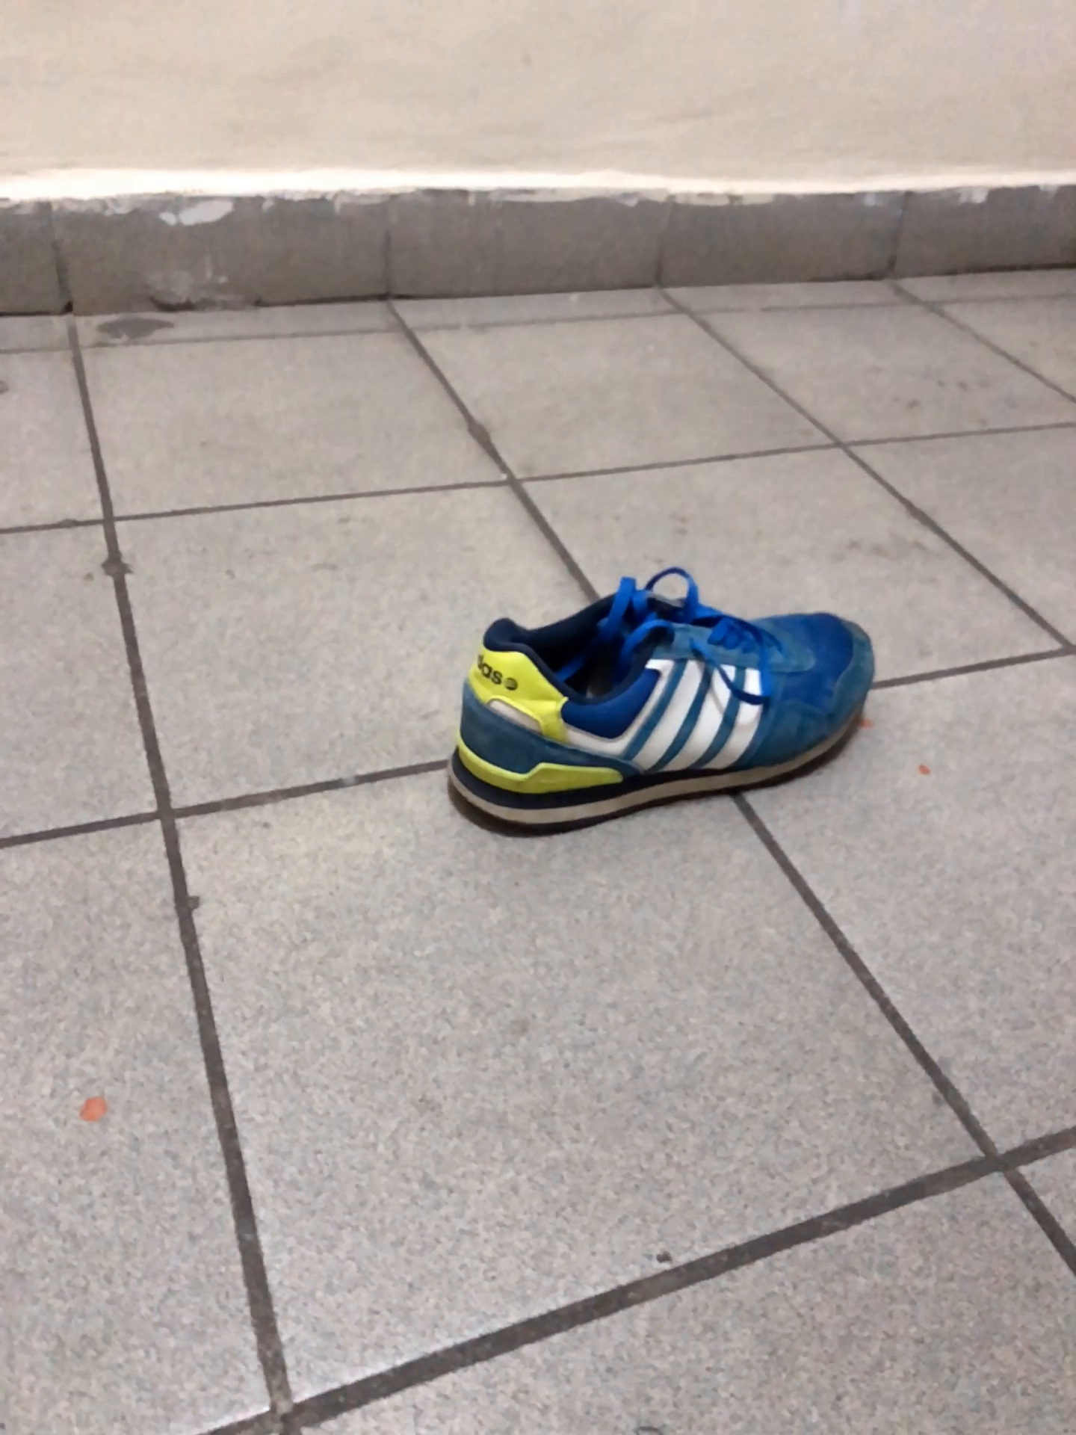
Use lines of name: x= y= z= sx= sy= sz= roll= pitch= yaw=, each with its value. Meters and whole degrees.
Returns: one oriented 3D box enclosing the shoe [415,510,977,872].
shoe: x=0.088 y=-0.025 z=0.674 sx=0.292 sy=0.099 sz=0.111 roll=-14 pitch=43 yaw=-24
